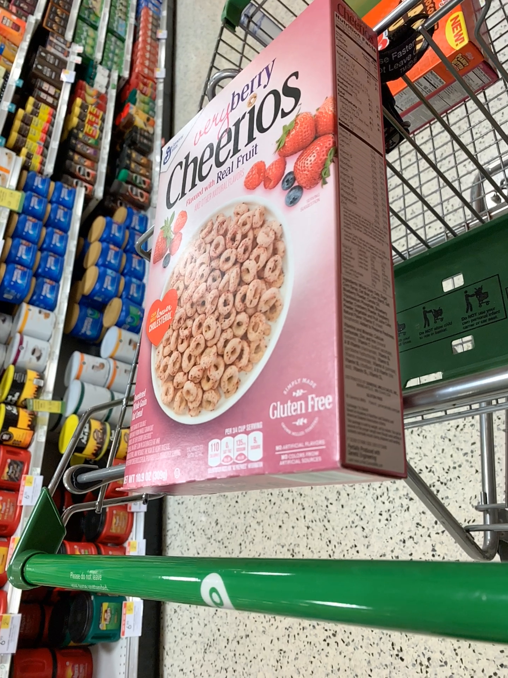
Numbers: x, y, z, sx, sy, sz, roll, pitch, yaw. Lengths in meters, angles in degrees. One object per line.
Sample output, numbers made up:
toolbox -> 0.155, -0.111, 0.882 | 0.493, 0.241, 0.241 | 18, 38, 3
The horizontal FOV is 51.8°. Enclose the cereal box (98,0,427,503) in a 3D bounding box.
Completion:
cereal box -> -0.009, -0.044, 0.343 | 0.211, 0.060, 0.281 | -22, 58, 46
